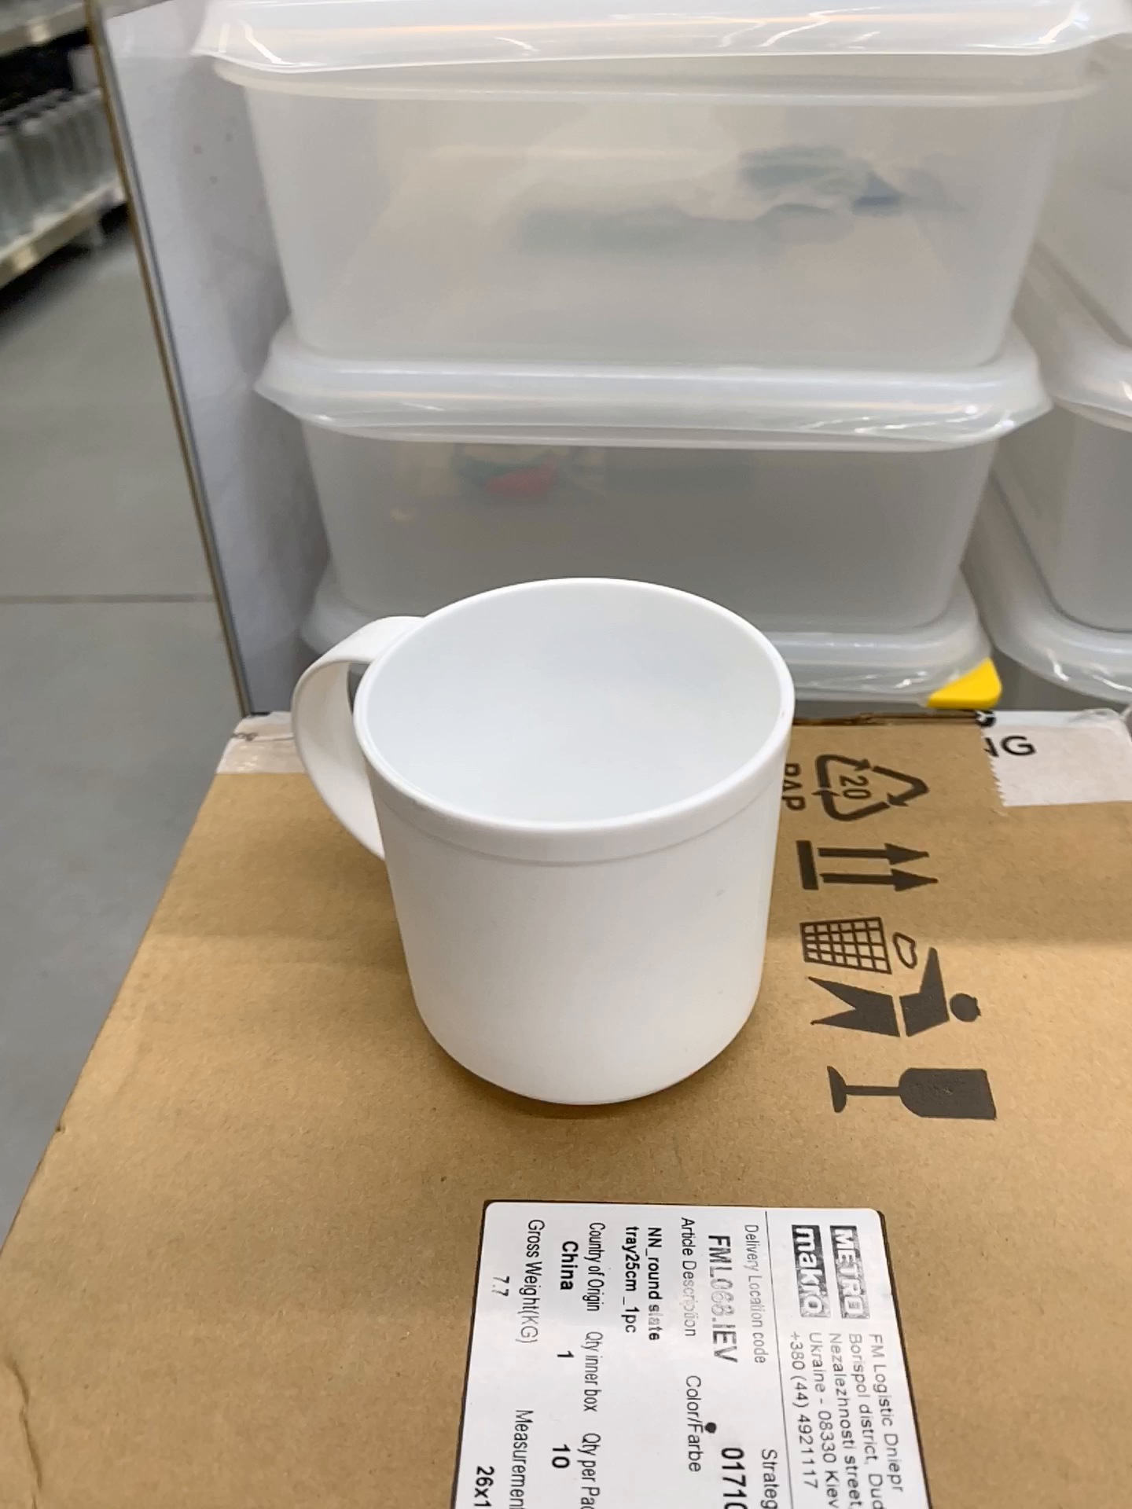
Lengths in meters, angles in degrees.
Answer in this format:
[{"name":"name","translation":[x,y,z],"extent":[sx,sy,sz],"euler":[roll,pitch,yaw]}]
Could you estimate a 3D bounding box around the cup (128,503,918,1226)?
[{"name":"cup","translation":[-0.005,0.013,0.227],"extent":[0.113,0.075,0.080],"euler":[18,42,25]}]
